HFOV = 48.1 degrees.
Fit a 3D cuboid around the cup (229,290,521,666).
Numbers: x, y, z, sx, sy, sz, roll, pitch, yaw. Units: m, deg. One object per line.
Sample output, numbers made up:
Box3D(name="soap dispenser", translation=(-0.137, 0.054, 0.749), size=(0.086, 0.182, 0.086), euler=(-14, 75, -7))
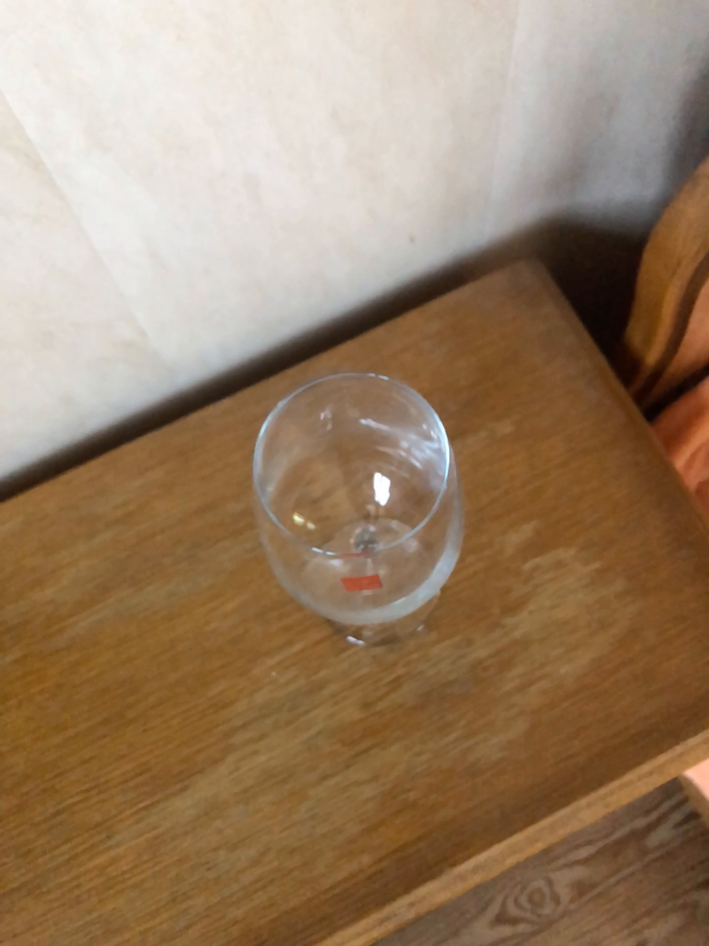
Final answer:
Box3D(name="cup", translation=(0.010, 0.024, 0.372), size=(0.090, 0.230, 0.100), euler=(-4, 70, 2))
